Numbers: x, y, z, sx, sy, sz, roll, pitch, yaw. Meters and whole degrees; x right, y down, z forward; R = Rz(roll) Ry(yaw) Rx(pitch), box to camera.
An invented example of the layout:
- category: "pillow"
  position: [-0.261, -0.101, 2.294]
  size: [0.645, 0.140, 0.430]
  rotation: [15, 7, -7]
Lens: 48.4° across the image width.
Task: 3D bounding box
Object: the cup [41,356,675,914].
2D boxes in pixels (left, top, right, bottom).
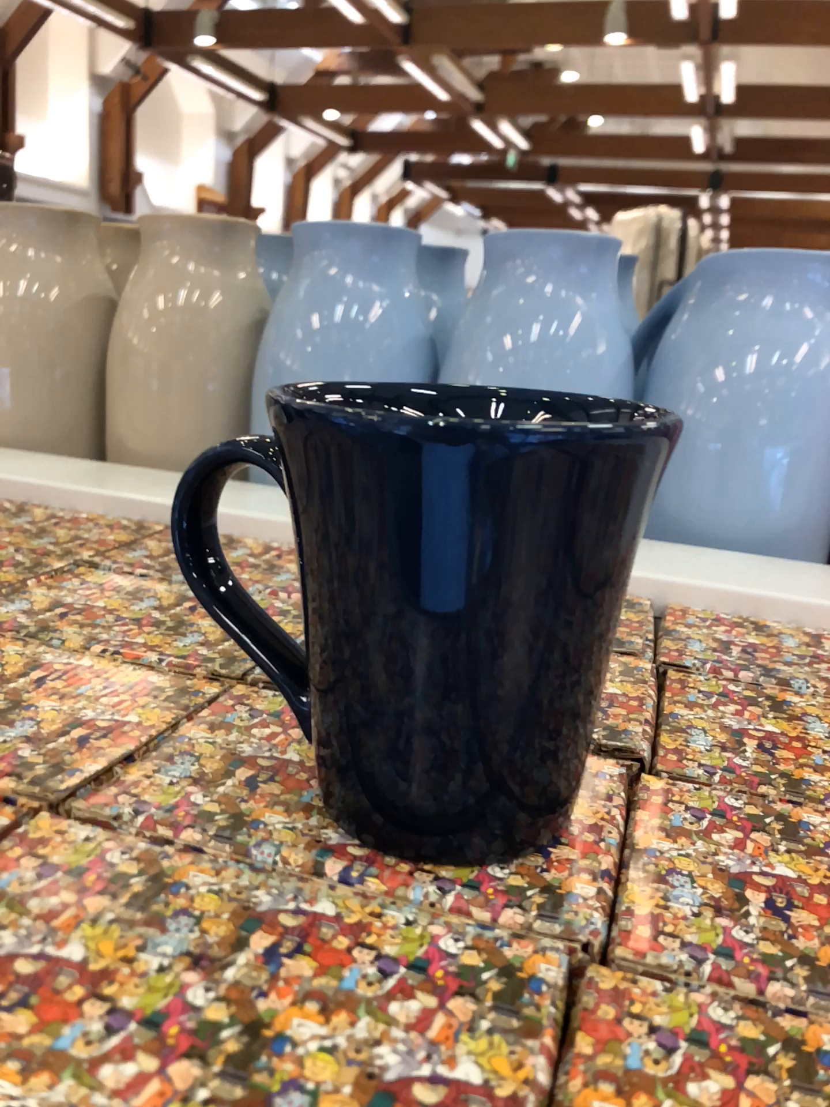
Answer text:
- category: "cup"
  position: [-0.006, 0.004, 0.223]
  size: [0.120, 0.090, 0.100]
  rotation: [8, 14, 14]
